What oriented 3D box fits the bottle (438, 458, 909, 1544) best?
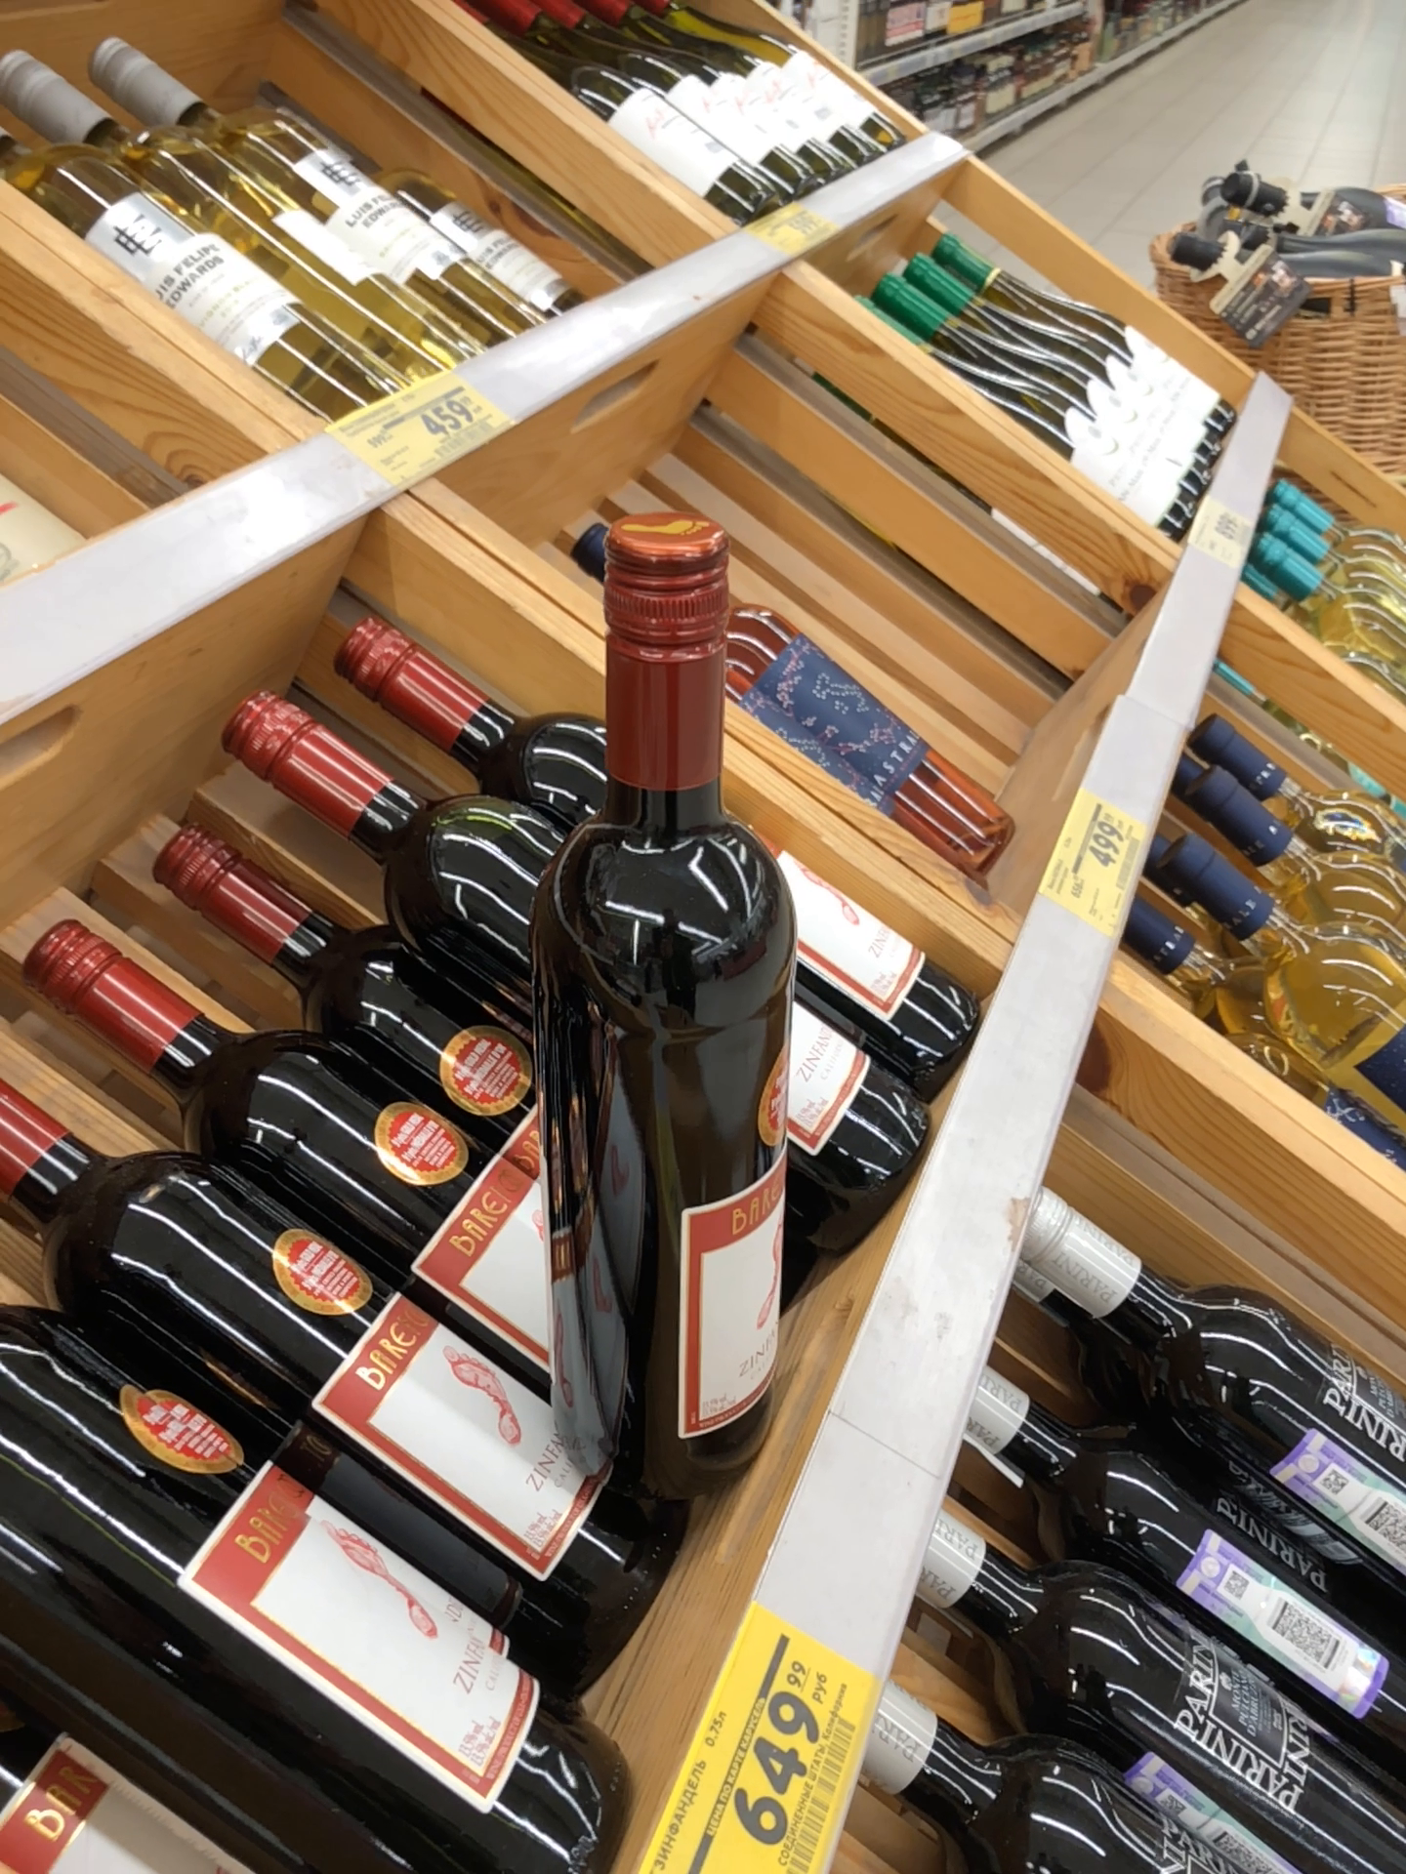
[{"bbox_3d":[-0.007,0.031,0.420,0.080,0.288,0.080,1,34,-1],"label":"bottle"}]
